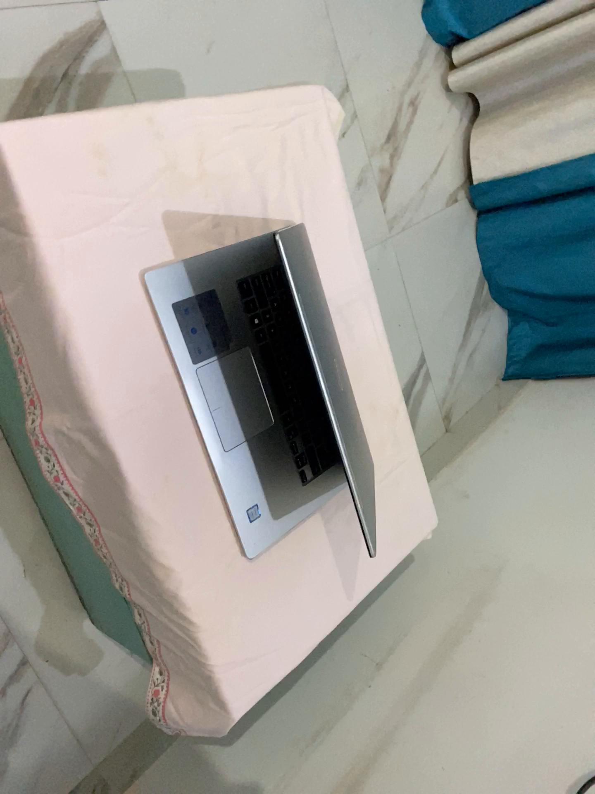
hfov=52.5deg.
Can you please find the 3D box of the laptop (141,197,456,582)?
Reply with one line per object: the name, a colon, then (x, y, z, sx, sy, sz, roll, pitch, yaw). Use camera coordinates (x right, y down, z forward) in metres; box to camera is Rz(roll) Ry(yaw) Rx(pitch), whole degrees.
laptop: (0.020, -0.016, 0.696, 0.235, 0.149, 0.348, -31, 111, -38)
